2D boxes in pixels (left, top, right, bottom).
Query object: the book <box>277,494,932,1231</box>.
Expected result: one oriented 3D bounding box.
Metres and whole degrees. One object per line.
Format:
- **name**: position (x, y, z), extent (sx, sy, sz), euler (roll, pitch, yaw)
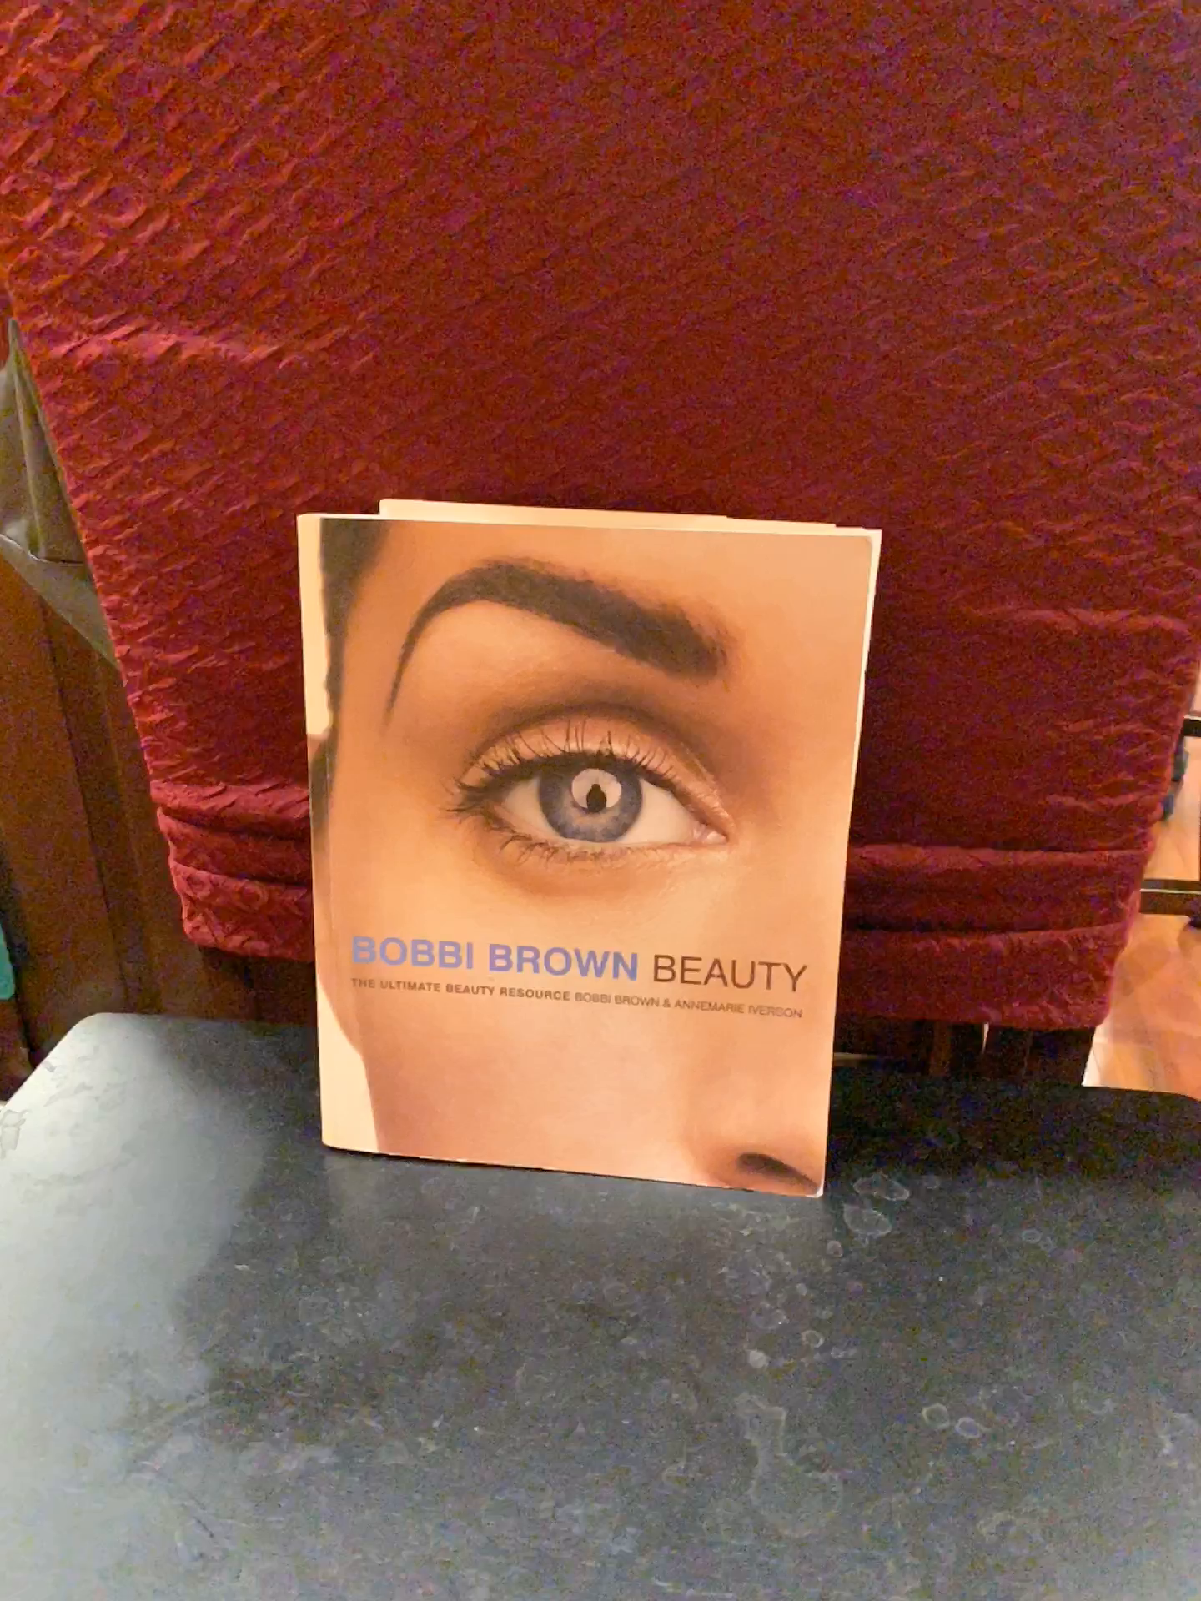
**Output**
- **book**: position (-0.002, 0.022, 0.418), extent (0.200, 0.239, 0.030), euler (3, 16, 8)
